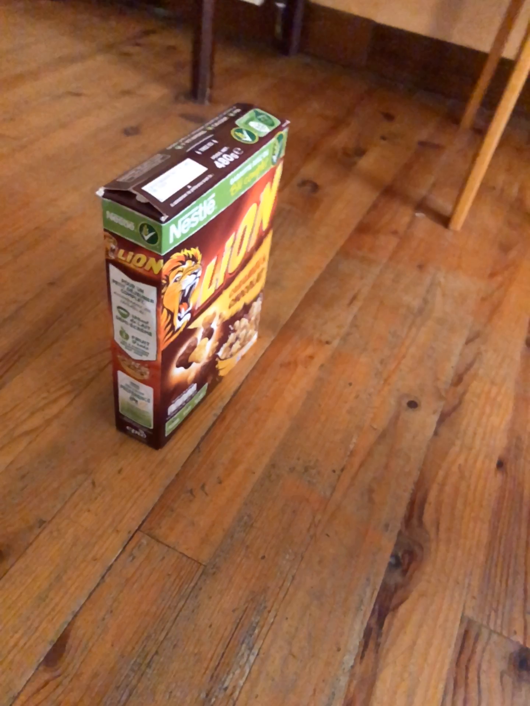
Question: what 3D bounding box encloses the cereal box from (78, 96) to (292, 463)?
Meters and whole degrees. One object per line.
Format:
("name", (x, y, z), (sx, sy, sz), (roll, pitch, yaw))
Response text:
("cereal box", (-0.067, -0.061, 0.545), (0.060, 0.278, 0.201), (25, 47, 15))
